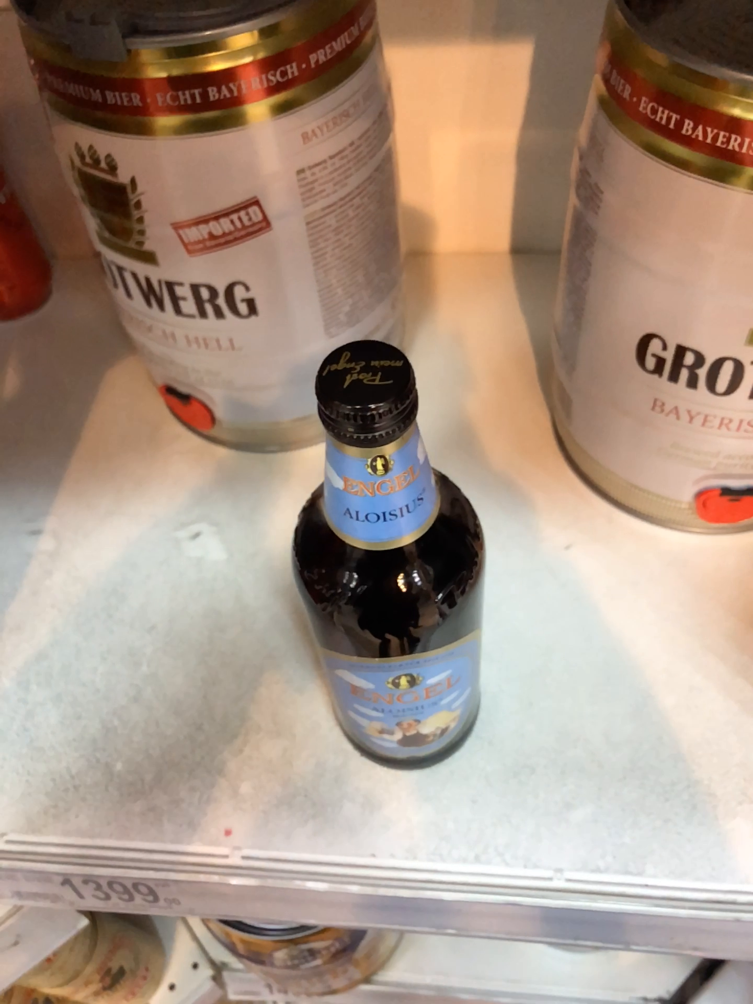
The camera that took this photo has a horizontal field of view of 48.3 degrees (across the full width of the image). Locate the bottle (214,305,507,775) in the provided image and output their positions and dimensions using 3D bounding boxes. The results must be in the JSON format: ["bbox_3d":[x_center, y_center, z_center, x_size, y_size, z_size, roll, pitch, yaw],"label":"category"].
[{"bbox_3d":[0.006,0.035,0.306,0.070,0.219,0.060,-2,55,5],"label":"bottle"}]
